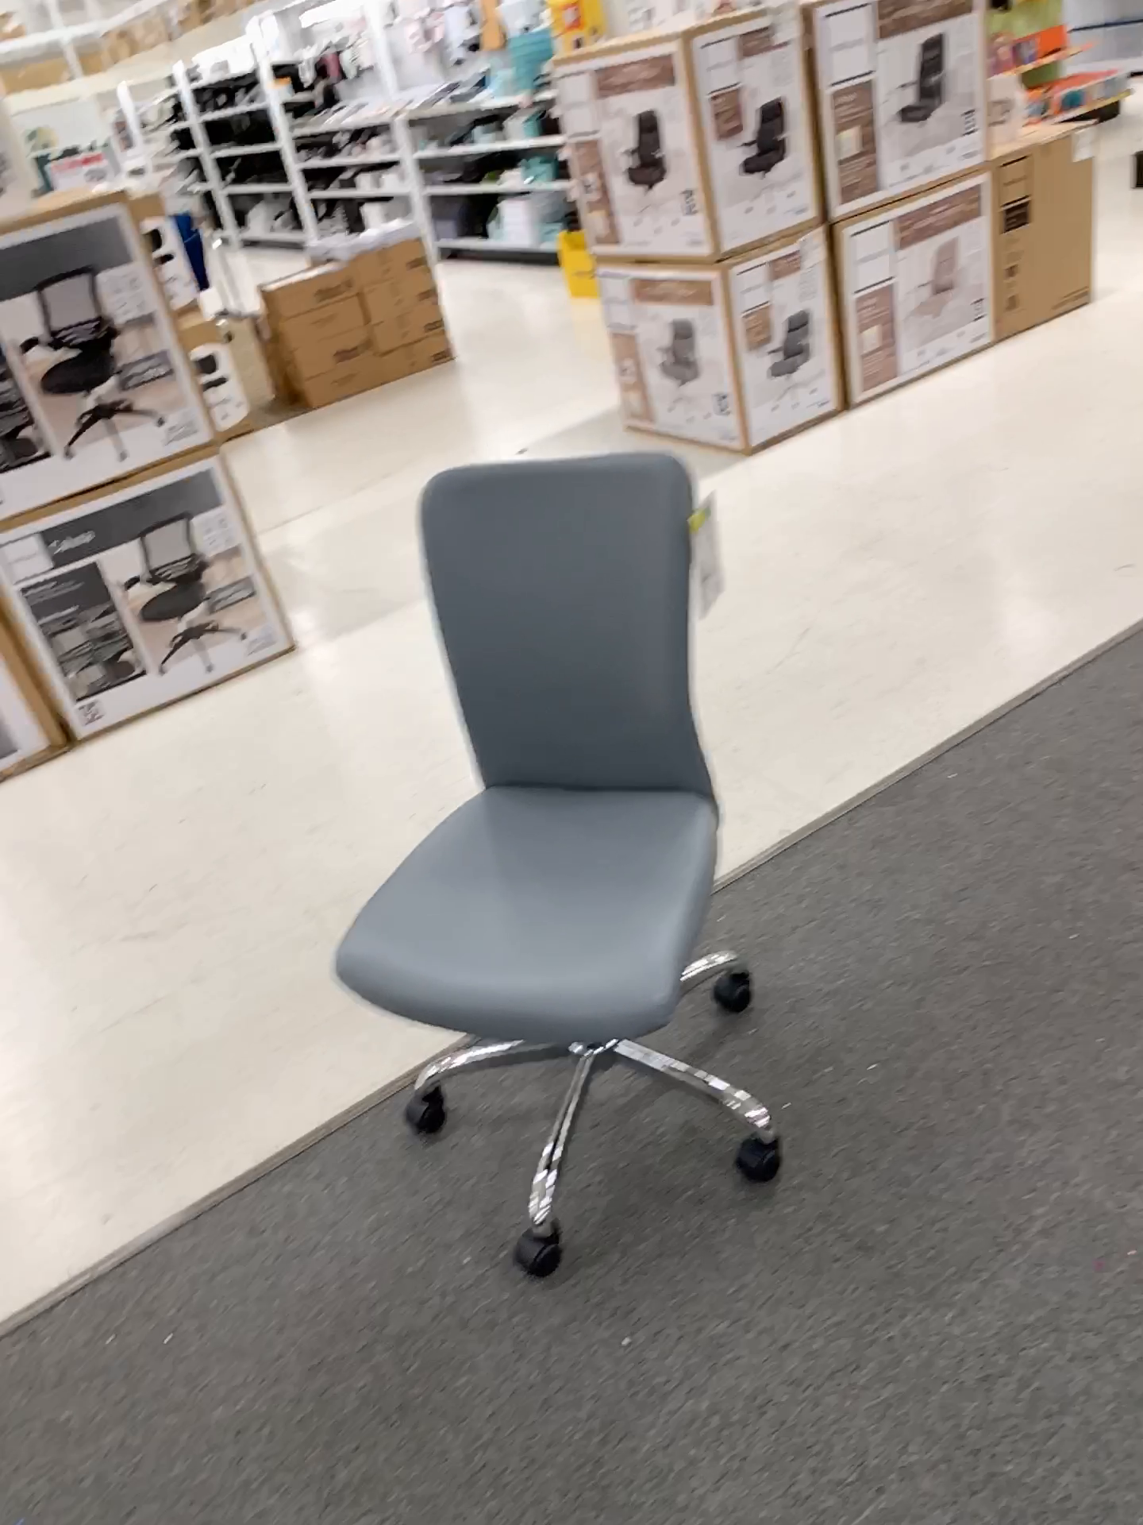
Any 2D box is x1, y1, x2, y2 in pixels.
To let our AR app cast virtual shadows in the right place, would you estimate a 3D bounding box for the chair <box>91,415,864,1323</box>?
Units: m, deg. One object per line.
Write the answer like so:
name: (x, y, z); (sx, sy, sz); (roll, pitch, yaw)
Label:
chair: (-0.008, 0.111, 1.527); (0.601, 0.875, 0.653); (2, 35, 24)
